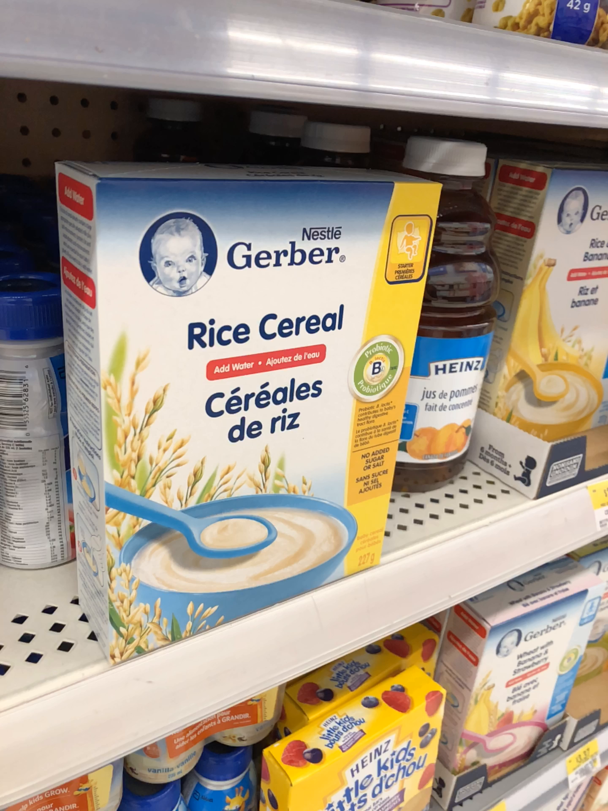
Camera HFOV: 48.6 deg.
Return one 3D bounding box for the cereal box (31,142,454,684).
[{"bbox_3d":[-0.028,-0.002,0.295,0.150,0.199,0.060,-11,29,-34],"label":"cereal box"}]
